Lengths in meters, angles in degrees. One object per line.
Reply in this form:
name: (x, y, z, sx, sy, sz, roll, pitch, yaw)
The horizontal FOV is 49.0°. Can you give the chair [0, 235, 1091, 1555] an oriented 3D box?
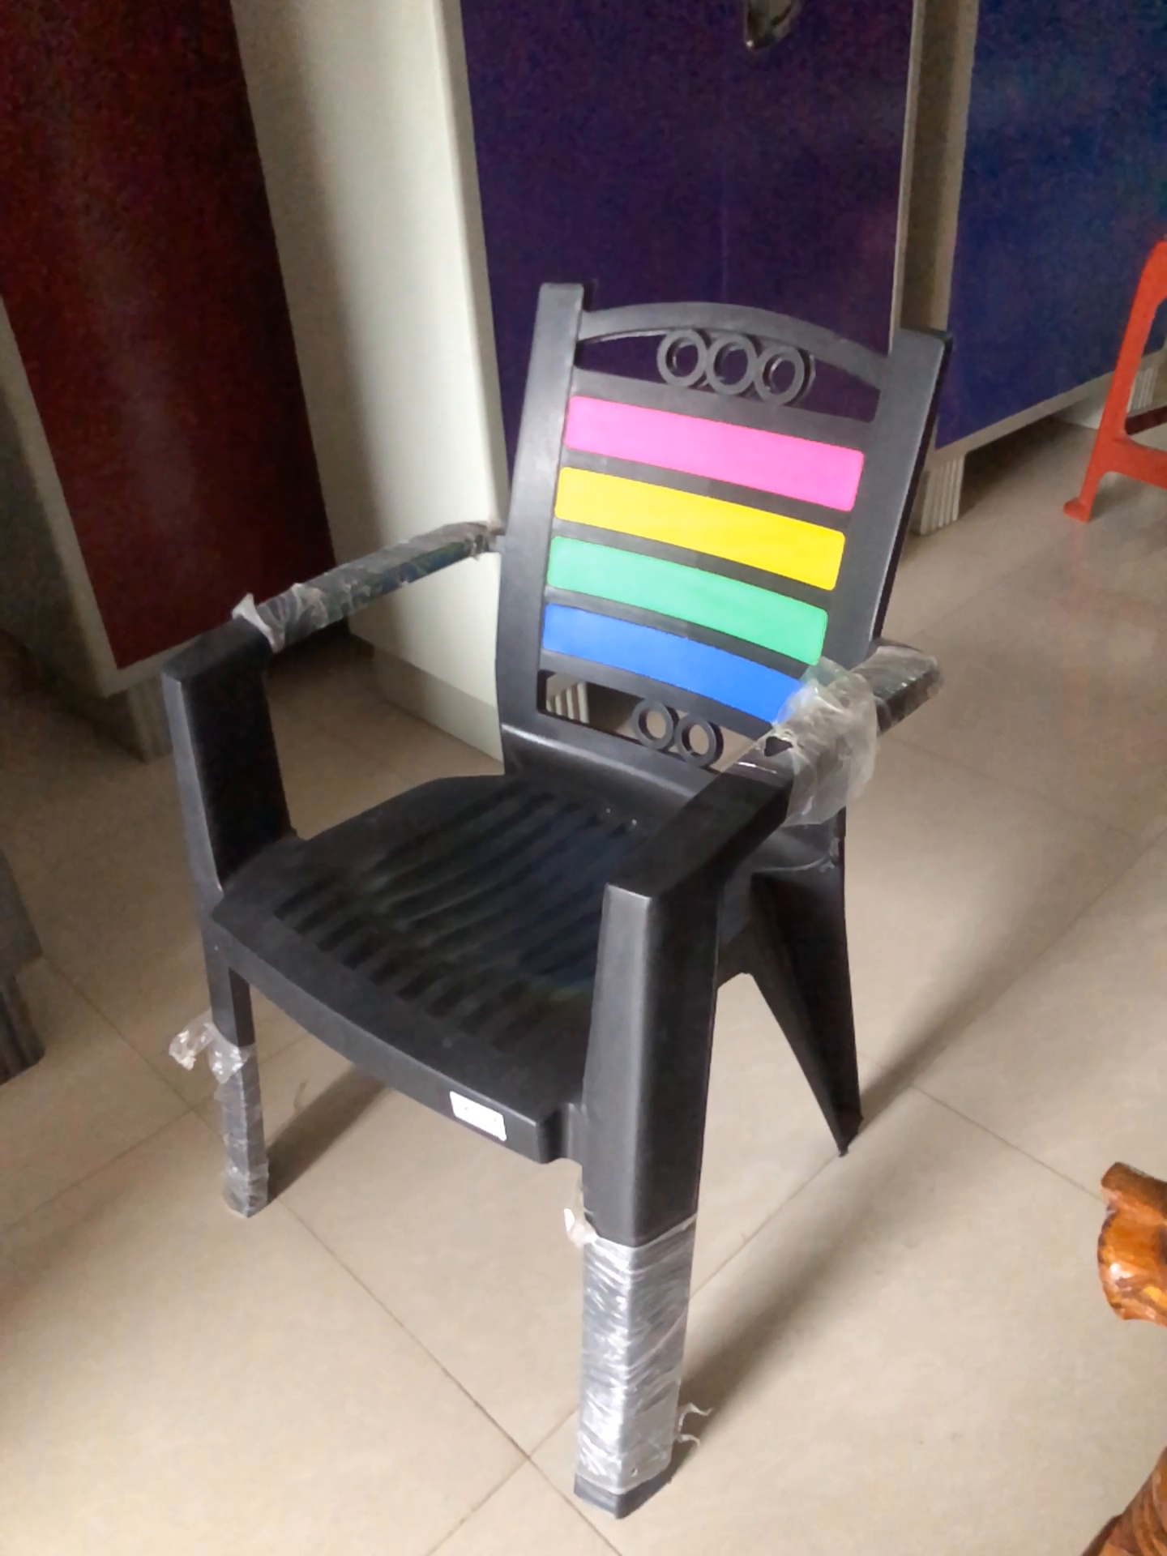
chair: (-0.015, 0.075, 1.258, 0.641, 0.975, 0.613, 24, 43, 36)
